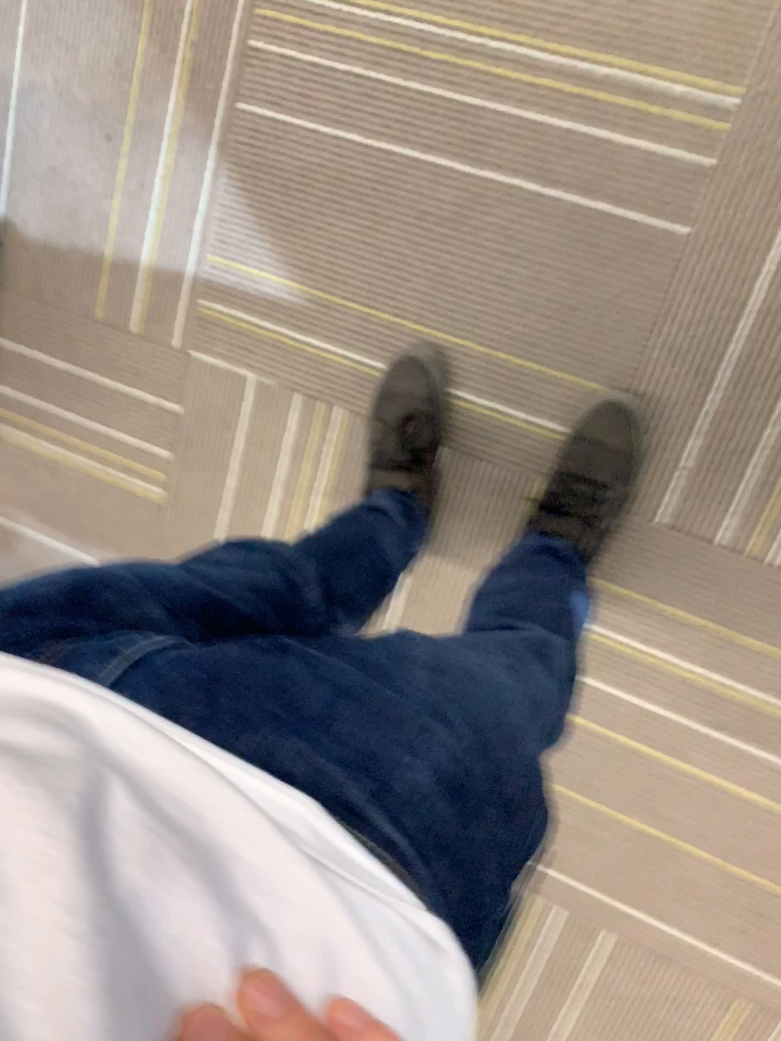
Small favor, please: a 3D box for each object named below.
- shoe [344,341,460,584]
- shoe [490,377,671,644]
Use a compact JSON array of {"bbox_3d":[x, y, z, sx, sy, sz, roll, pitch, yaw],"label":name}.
[{"bbox_3d":[0.015,-0.080,1.059,0.109,0.113,0.291,8,107,18],"label":"shoe"},{"bbox_3d":[0.232,-0.015,0.994,0.109,0.113,0.292,22,111,13],"label":"shoe"}]
